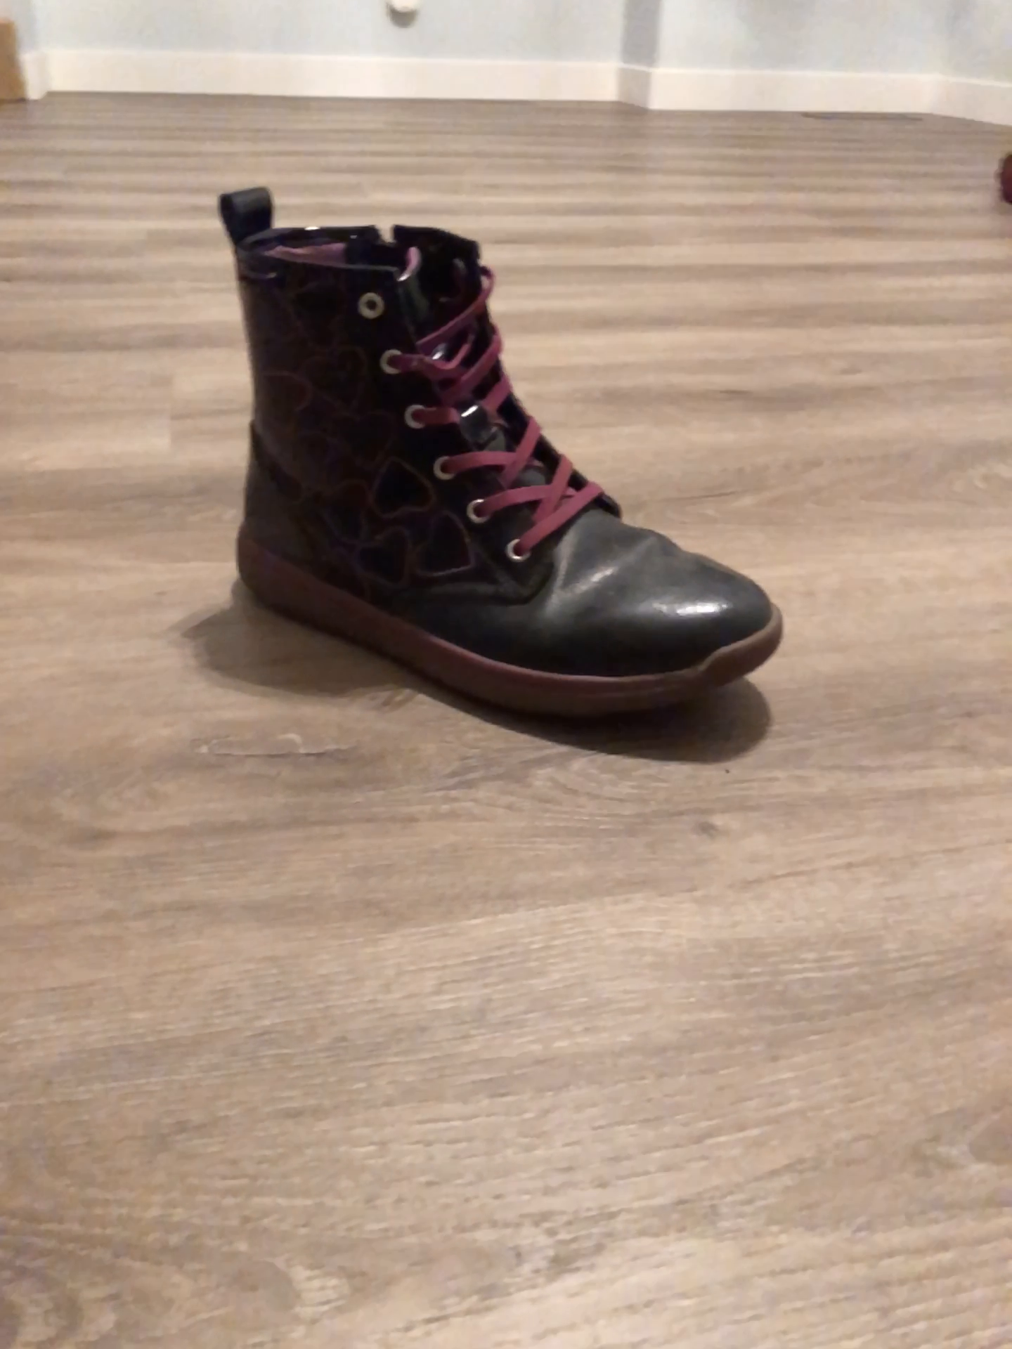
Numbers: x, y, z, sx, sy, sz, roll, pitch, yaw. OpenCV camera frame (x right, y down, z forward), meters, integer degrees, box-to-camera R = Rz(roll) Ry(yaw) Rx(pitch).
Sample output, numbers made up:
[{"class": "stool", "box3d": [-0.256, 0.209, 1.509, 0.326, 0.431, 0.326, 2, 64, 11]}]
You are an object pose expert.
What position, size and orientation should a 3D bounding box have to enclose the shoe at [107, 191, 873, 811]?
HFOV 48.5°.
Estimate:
[{"class": "shoe", "box3d": [-0.012, -0.076, 0.400, 0.230, 0.149, 0.100, 19, 34, 27]}]
